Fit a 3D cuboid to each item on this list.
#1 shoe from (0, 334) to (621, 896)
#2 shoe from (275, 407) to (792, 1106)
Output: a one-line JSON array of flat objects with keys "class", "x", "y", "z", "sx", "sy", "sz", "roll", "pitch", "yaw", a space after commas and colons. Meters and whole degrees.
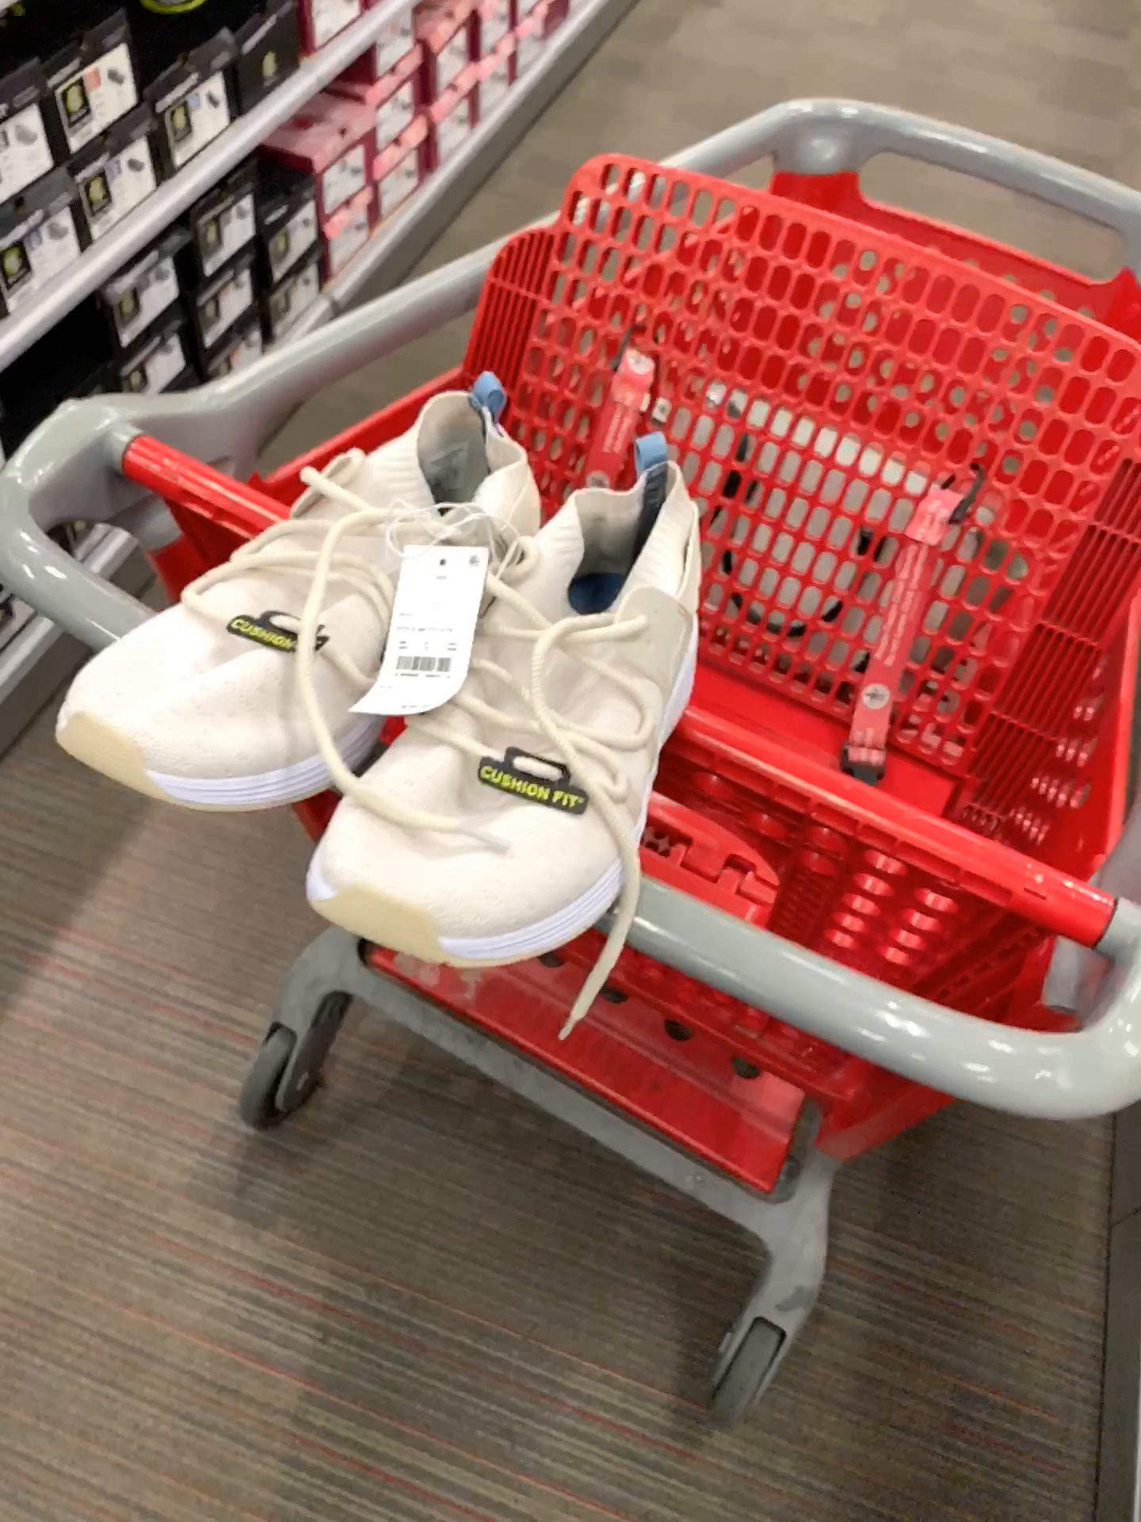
[{"class": "shoe", "x": -0.098, "y": -0.084, "z": 0.512, "sx": 0.110, "sy": 0.110, "sz": 0.281, "roll": 27, "pitch": 38, "yaw": 14}, {"class": "shoe", "x": 0.000, "y": -0.025, "z": 0.473, "sx": 0.110, "sy": 0.110, "sz": 0.281, "roll": 18, "pitch": 40, "yaw": 7}]
